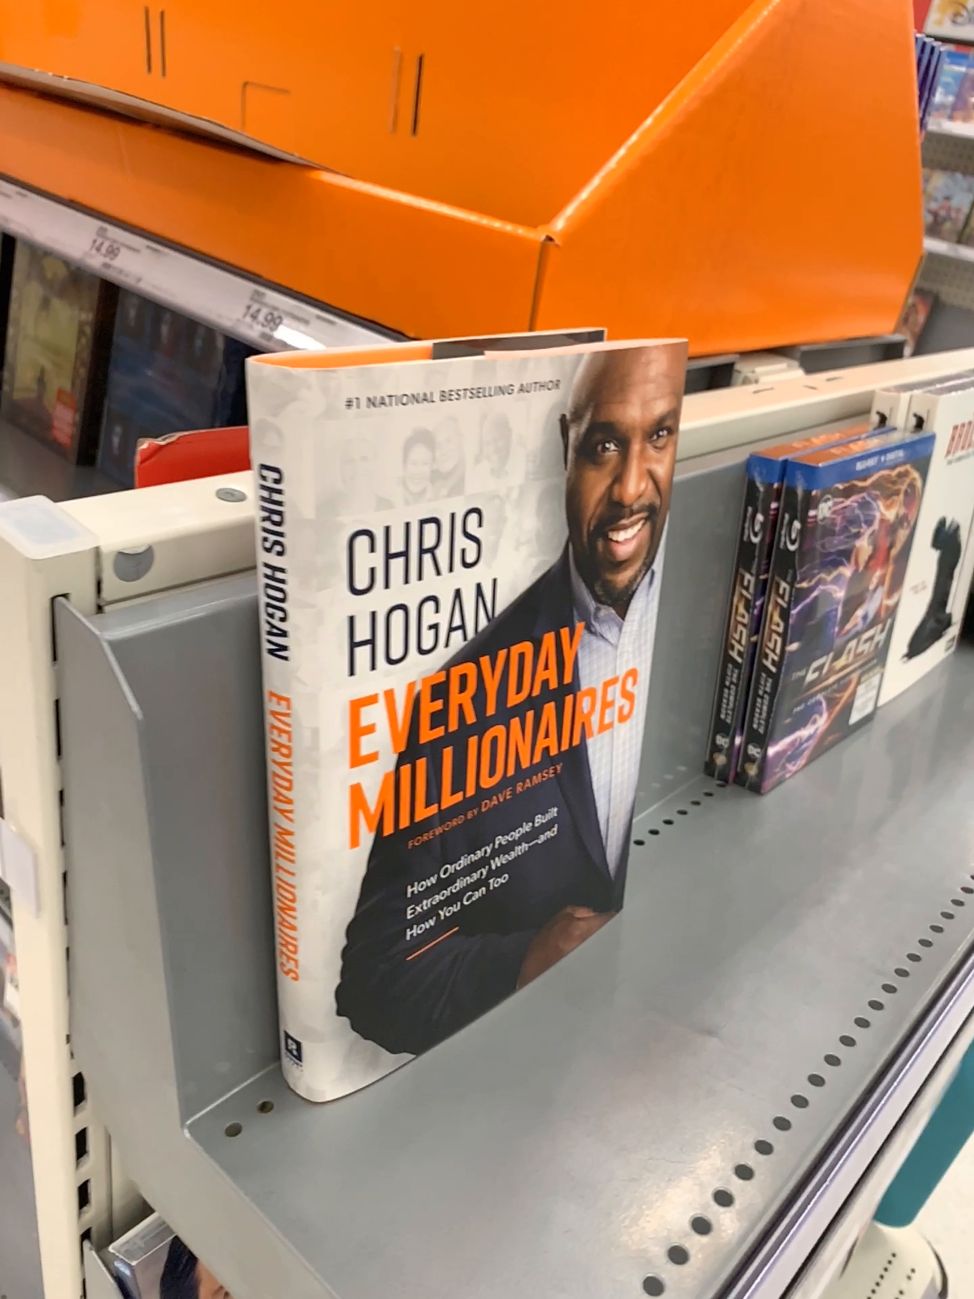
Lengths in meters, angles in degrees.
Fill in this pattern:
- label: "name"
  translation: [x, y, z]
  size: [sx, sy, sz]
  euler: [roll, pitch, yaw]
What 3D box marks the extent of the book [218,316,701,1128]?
- label: "book"
  translation: [-0.004, 0.017, 0.343]
  size: [0.160, 0.241, 0.037]
  euler: [-19, 31, -42]
